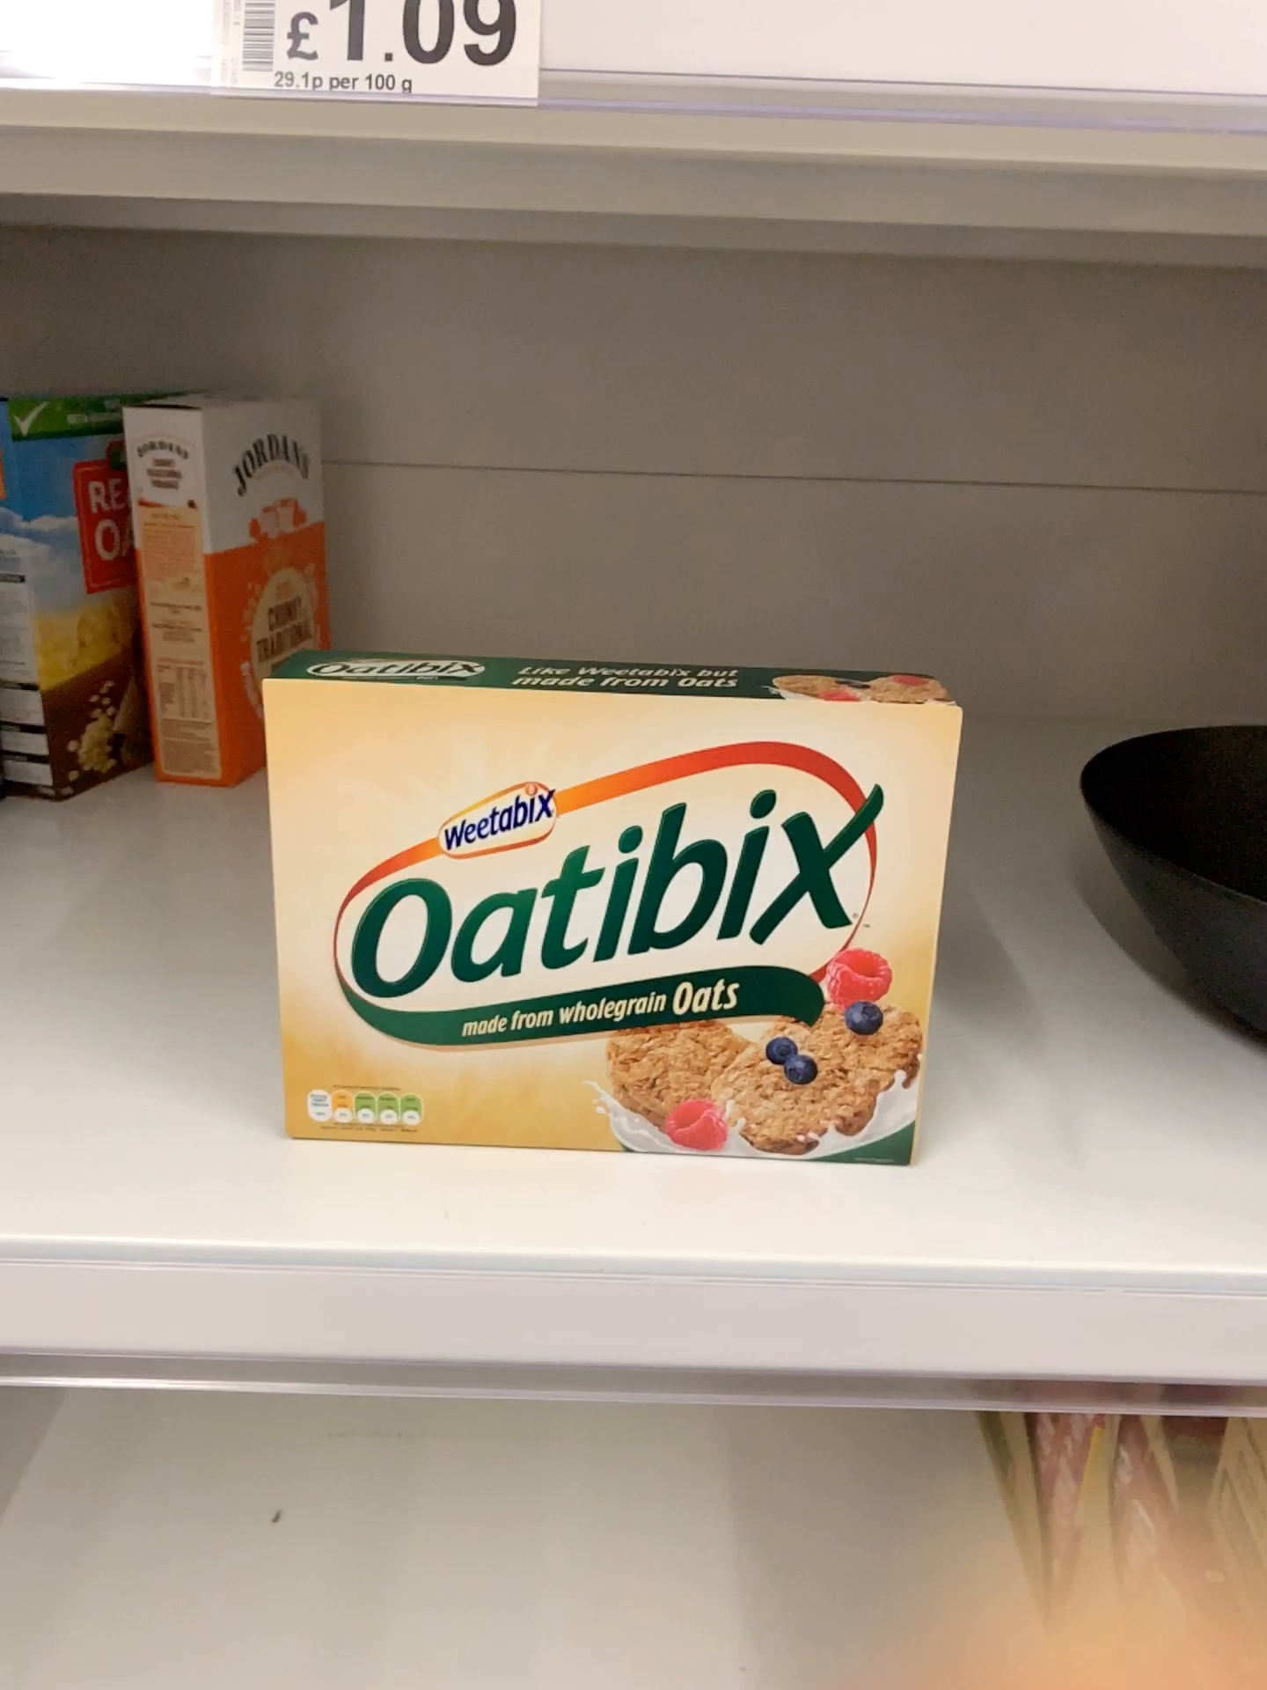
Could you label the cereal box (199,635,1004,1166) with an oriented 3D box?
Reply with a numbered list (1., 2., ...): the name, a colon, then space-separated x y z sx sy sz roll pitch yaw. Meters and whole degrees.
1. cereal box: -0.013 0.021 0.501 0.270 0.179 0.071 2 20 1
